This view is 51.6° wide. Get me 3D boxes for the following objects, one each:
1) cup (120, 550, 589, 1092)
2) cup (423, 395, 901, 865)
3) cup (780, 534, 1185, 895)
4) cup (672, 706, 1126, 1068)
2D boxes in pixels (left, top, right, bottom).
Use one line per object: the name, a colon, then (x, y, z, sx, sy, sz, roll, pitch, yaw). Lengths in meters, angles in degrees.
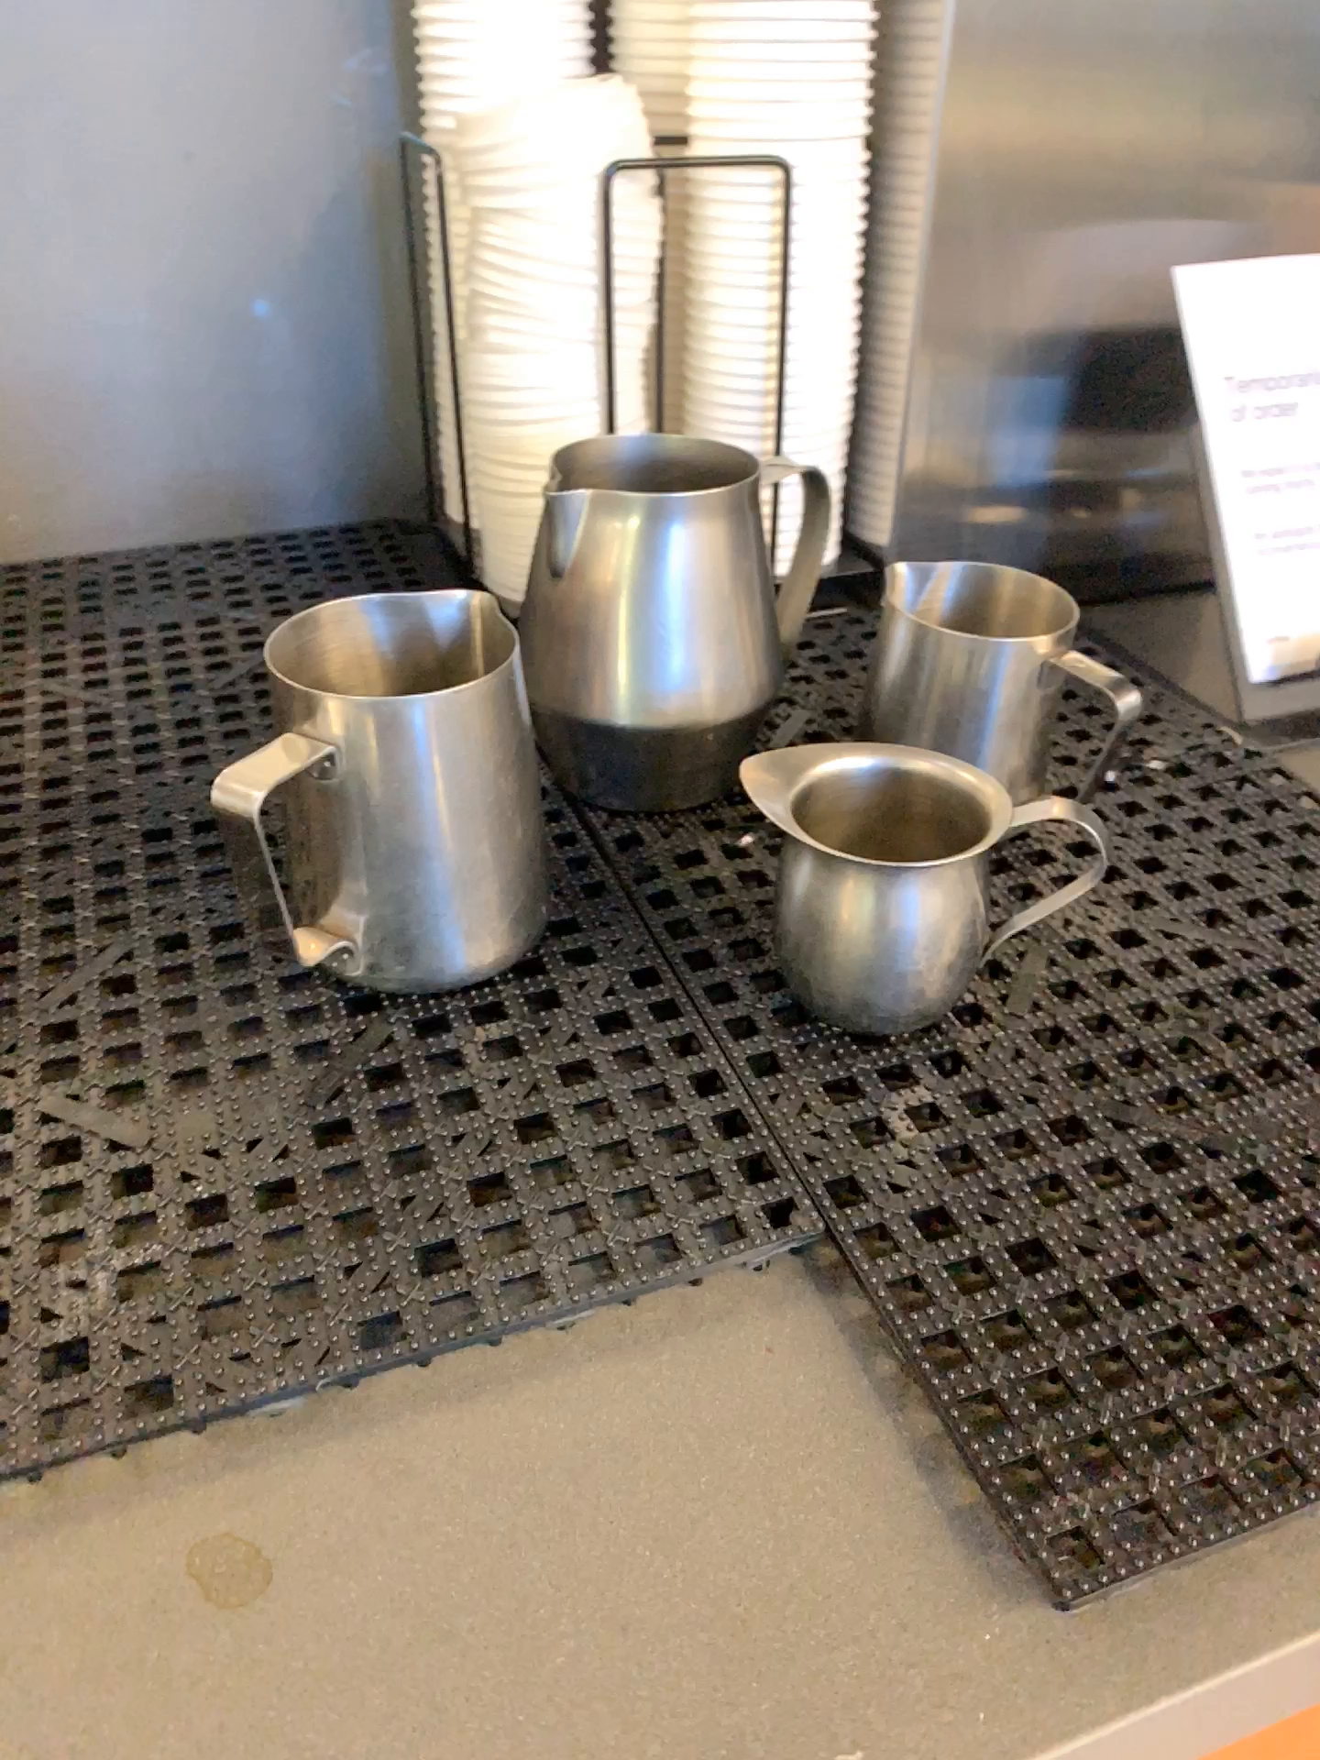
cup: (-0.083, -0.024, 0.422, 0.080, 0.109, 0.121, 12, 35, 17)
cup: (0.001, -0.107, 0.550, 0.150, 0.129, 0.100, -22, 40, -30)
cup: (0.115, -0.066, 0.505, 0.080, 0.080, 0.110, -28, 43, -36)
cup: (0.072, -0.002, 0.415, 0.120, 0.060, 0.080, 8, 34, 11)
